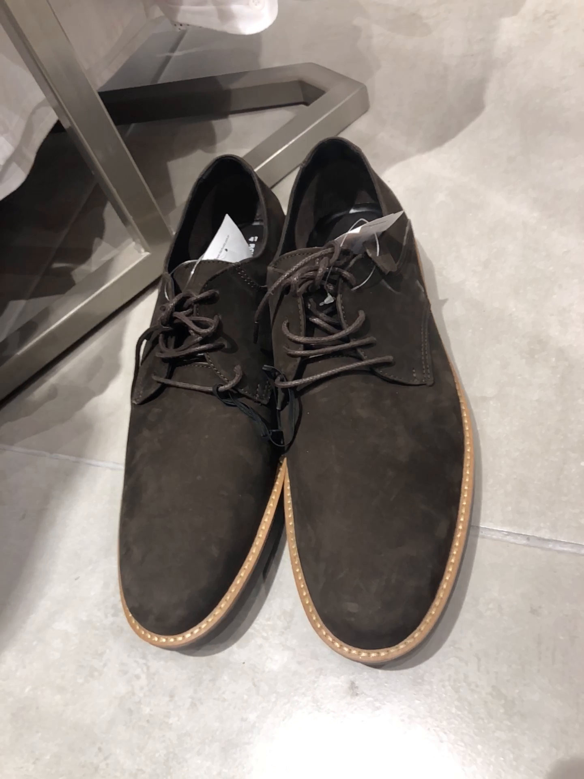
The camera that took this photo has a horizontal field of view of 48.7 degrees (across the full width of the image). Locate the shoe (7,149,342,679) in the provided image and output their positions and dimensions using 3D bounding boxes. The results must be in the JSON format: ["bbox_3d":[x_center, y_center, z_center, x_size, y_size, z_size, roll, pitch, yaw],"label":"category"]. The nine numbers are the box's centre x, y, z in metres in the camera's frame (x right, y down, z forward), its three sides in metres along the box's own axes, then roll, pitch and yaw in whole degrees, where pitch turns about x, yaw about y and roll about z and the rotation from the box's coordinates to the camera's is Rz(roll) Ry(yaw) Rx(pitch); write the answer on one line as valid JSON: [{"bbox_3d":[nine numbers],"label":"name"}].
[{"bbox_3d":[-0.045,0.005,0.405,0.110,0.119,0.301,-3,57,16],"label":"shoe"}]

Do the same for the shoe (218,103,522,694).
[{"bbox_3d":[0.039,-0.006,0.363,0.110,0.119,0.301,-9,55,12],"label":"shoe"}]
